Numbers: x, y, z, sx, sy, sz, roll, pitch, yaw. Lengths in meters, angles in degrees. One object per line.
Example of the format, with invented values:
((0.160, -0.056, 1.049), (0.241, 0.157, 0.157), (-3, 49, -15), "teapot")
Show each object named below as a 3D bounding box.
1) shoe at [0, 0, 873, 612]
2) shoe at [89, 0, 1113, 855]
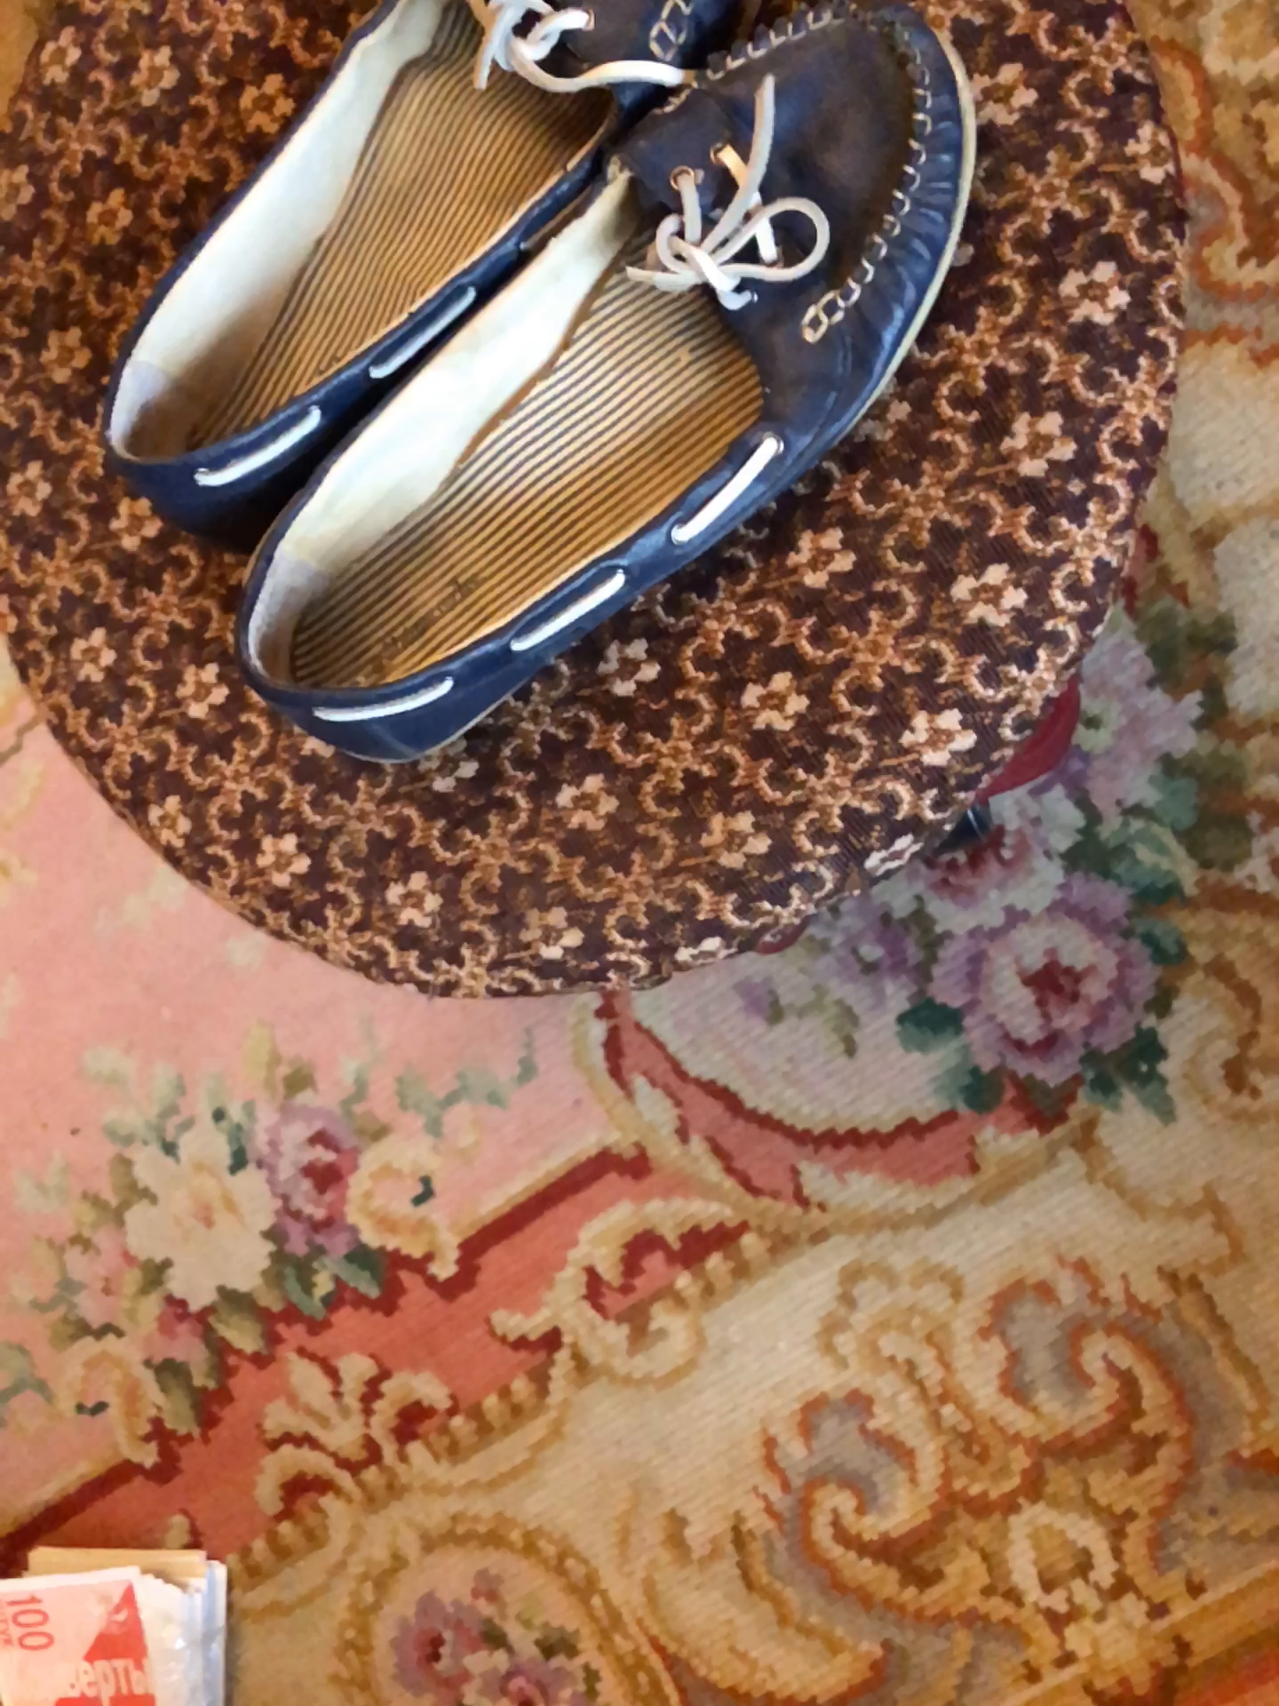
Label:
((-0.064, -0.194, 0.371), (0.250, 0.090, 0.090), (-46, 78, 8), "shoe")
((-0.010, -0.122, 0.370), (0.250, 0.100, 0.090), (-44, 85, 15), "shoe")
